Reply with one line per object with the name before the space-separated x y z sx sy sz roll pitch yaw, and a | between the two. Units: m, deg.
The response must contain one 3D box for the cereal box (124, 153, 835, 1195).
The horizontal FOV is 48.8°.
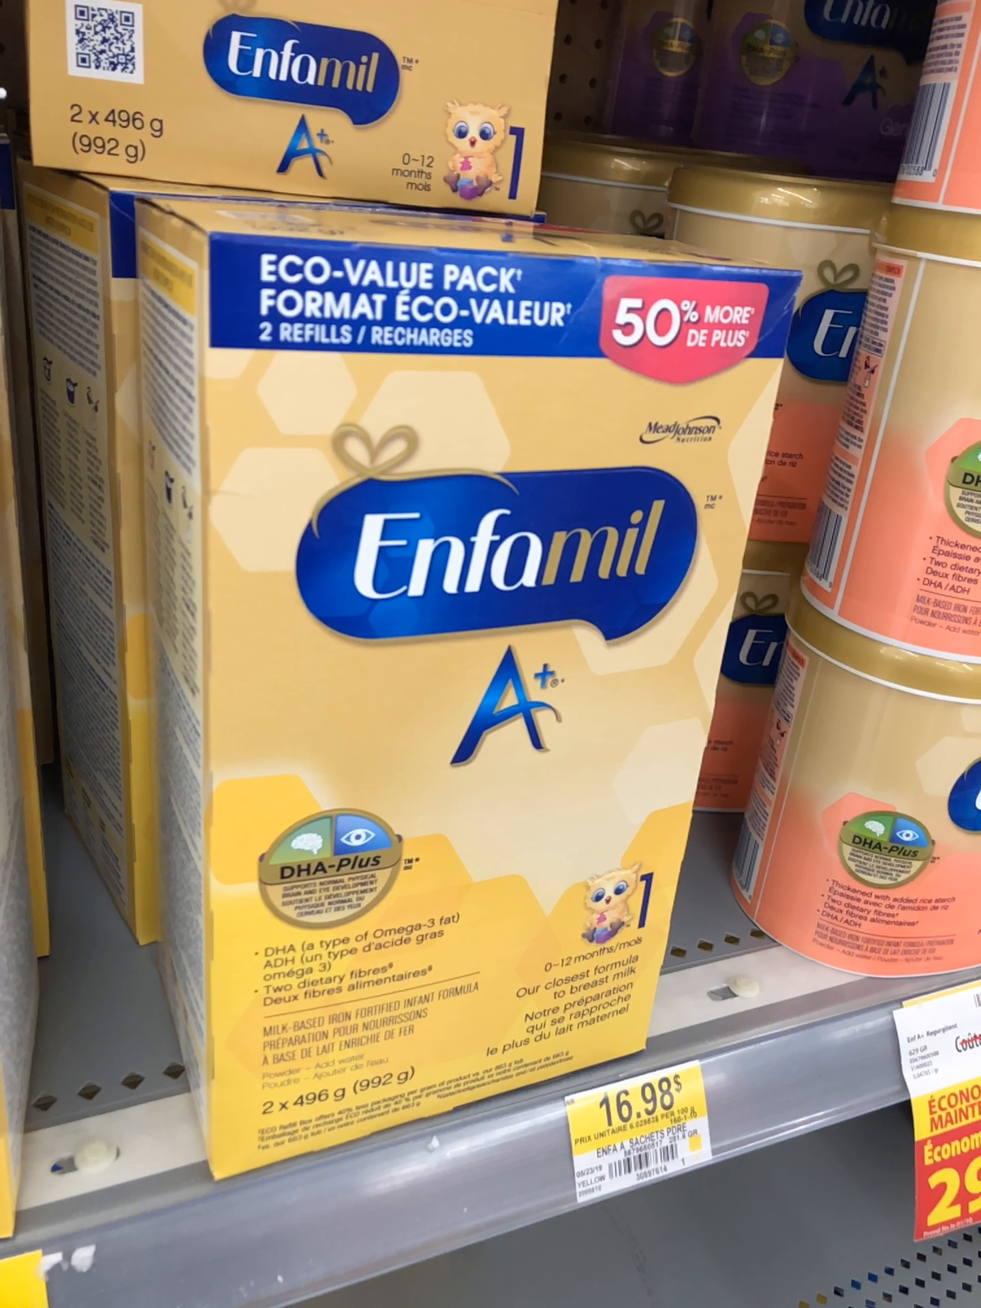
cereal box | -0.016 0.008 0.310 0.150 0.258 0.080 -6 27 -26
